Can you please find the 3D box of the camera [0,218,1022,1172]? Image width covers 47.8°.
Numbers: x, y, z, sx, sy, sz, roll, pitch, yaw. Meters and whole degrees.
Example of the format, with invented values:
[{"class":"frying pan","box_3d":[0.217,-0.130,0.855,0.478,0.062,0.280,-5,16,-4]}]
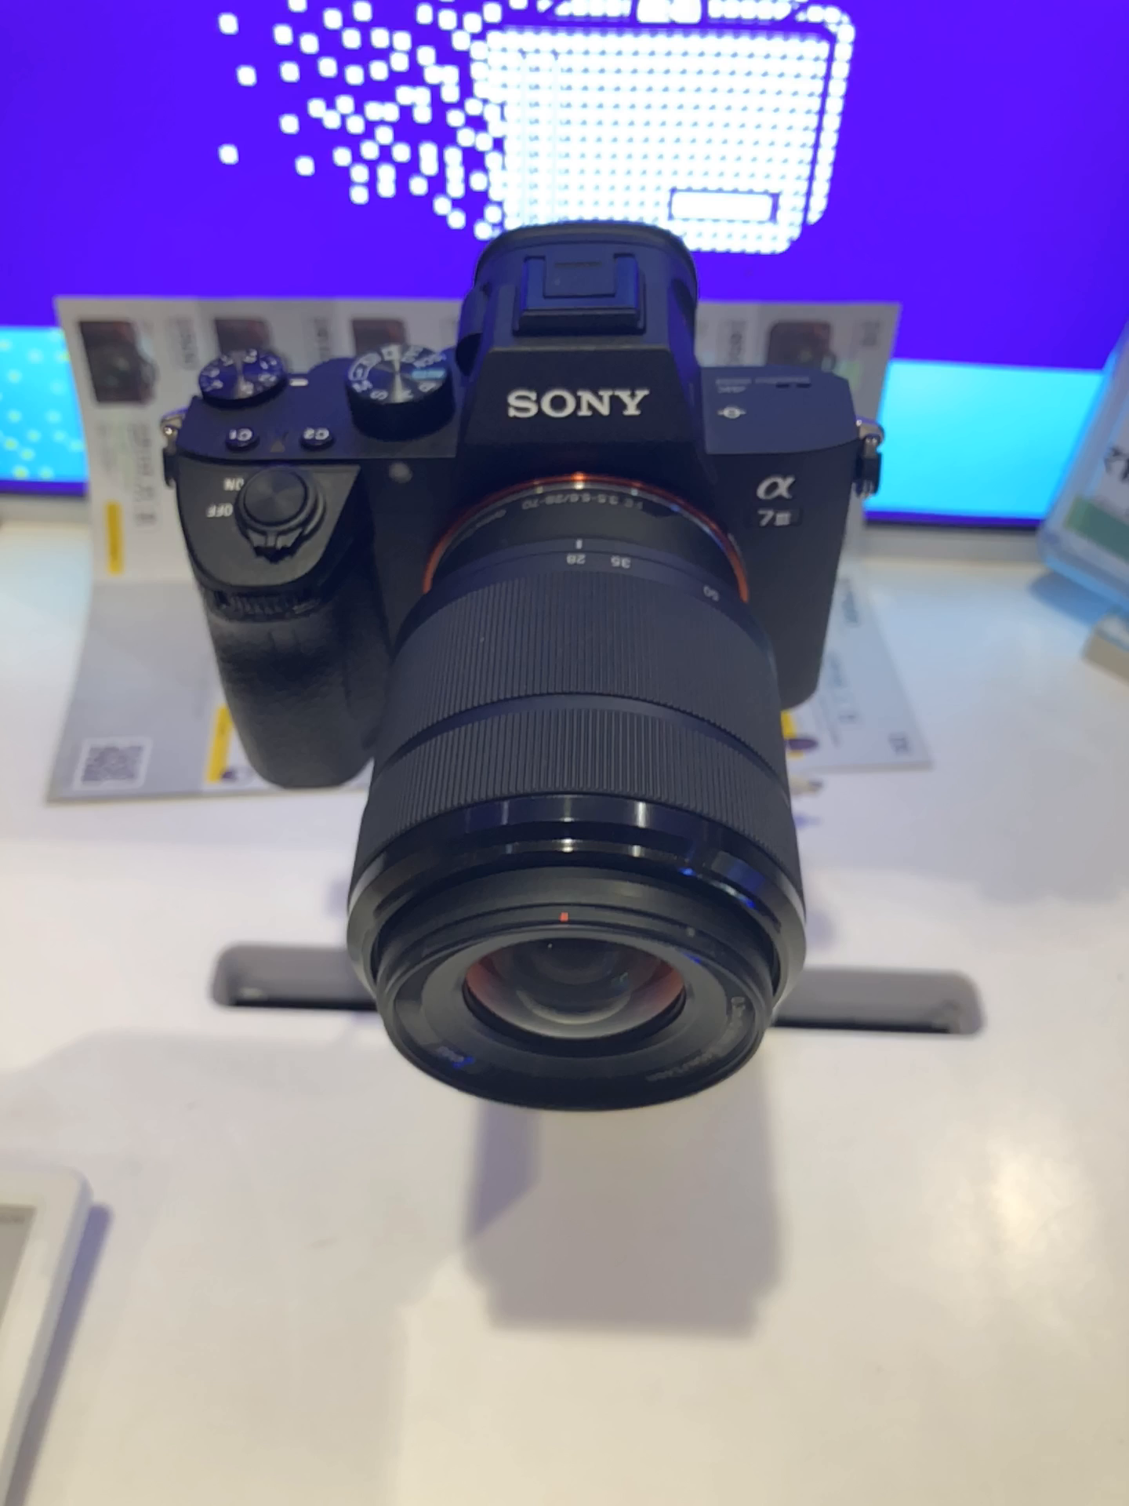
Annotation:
[{"class":"camera","box_3d":[-0.013,-0.014,0.229,0.120,0.109,0.128,-2,46,-5]}]
